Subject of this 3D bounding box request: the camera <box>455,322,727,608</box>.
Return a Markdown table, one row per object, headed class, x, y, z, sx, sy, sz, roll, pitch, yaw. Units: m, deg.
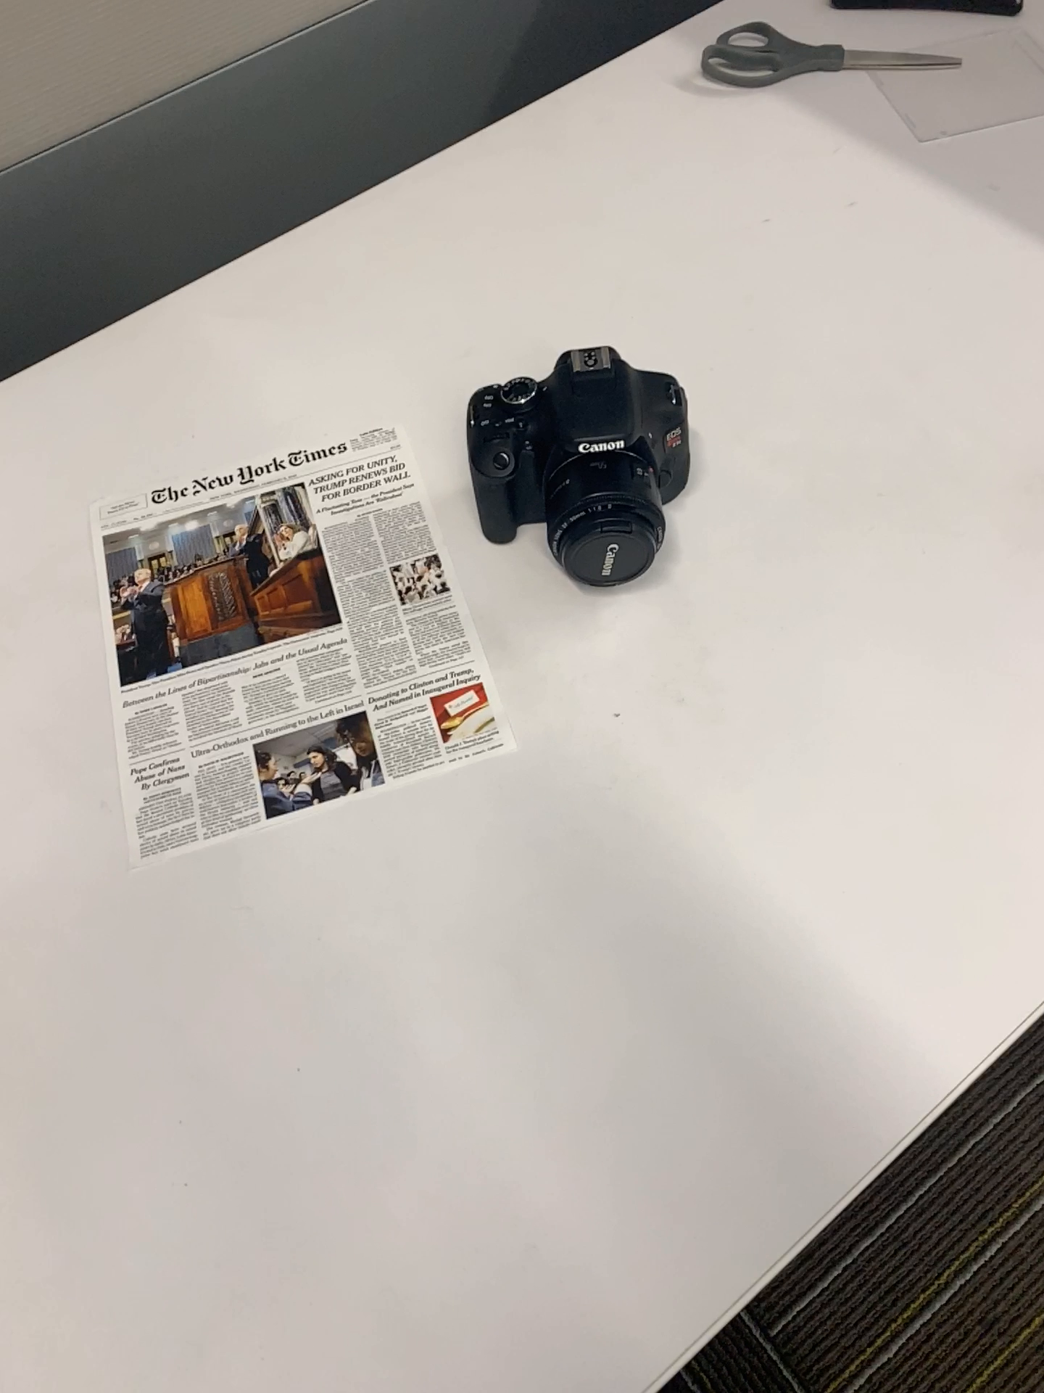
| class | x | y | z | sx | sy | sz | roll | pitch | yaw |
| --- | --- | --- | --- | --- | --- | --- | --- | --- | --- |
| camera | 0.038 | -0.134 | 0.624 | 0.136 | 0.090 | 0.119 | -7 | 57 | 2 |
